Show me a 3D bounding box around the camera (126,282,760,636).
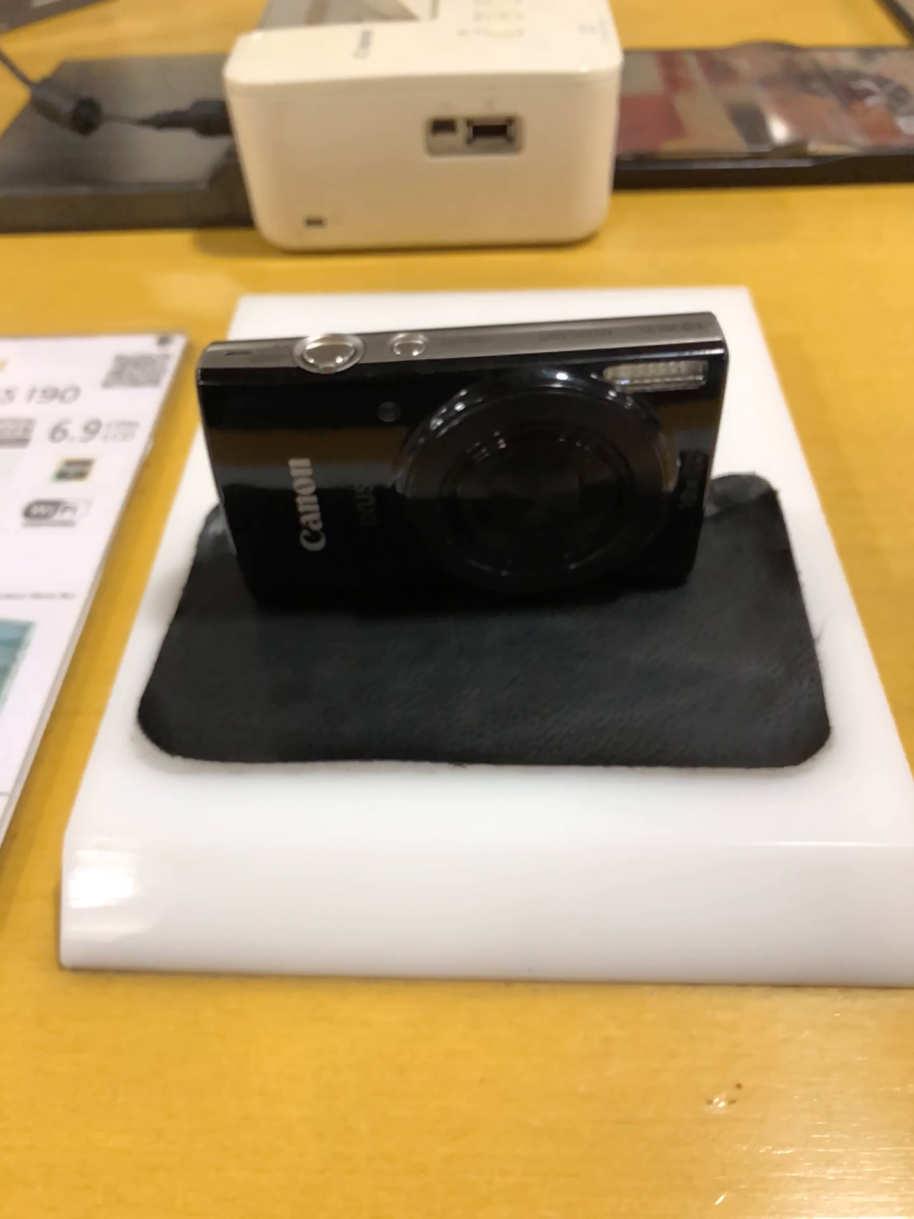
[{"bbox_3d":[-0.002,-0.027,0.191,0.100,0.050,0.030,-4,46,-2],"label":"camera"}]
